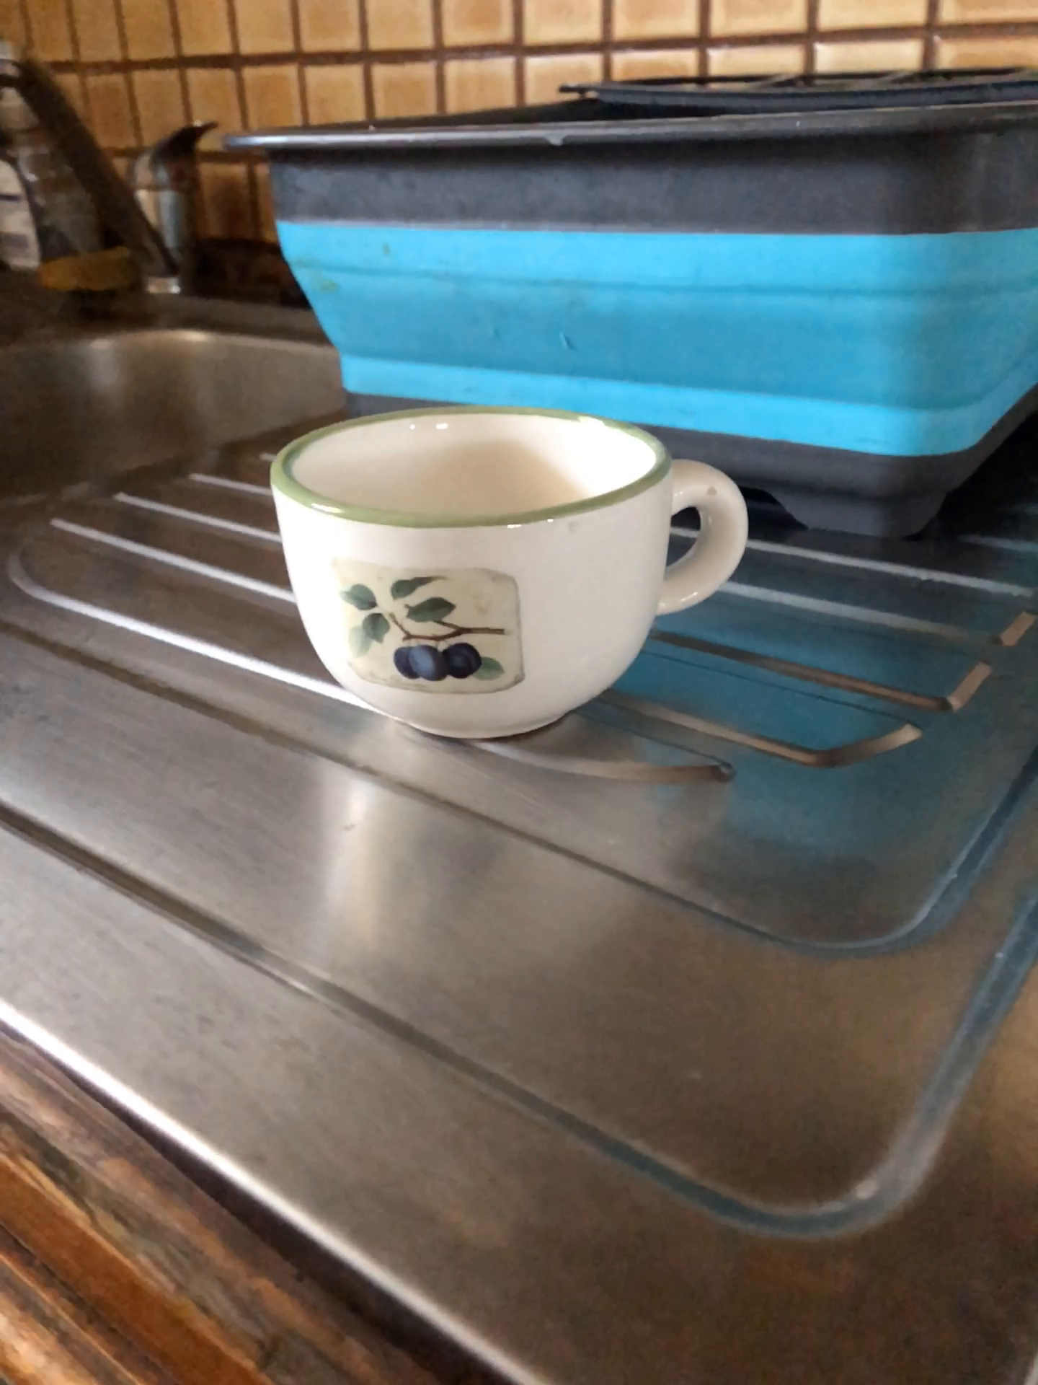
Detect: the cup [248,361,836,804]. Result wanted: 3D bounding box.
[{"bbox_3d":[-0.001,-0.032,0.264,0.110,0.060,0.090,-7,28,-10],"label":"cup"}]
